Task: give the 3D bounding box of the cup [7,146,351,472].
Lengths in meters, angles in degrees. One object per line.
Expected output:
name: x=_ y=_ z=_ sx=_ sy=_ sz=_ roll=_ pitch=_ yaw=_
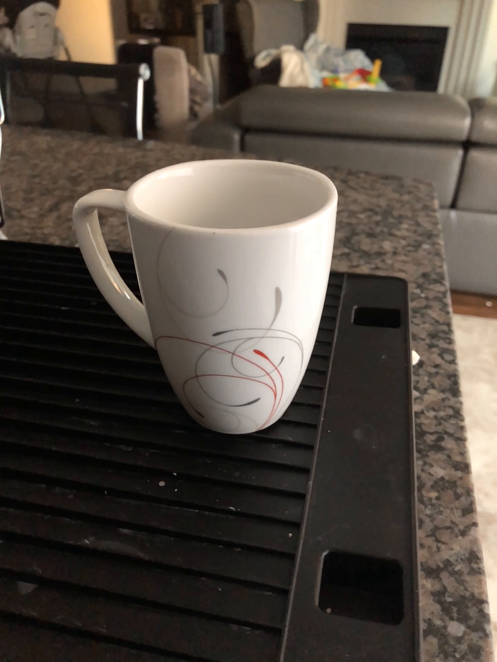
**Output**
cup: x=-0.020 y=-0.016 z=0.252 sx=0.116 sy=0.105 sz=0.088 roll=7 pitch=33 yaw=10
